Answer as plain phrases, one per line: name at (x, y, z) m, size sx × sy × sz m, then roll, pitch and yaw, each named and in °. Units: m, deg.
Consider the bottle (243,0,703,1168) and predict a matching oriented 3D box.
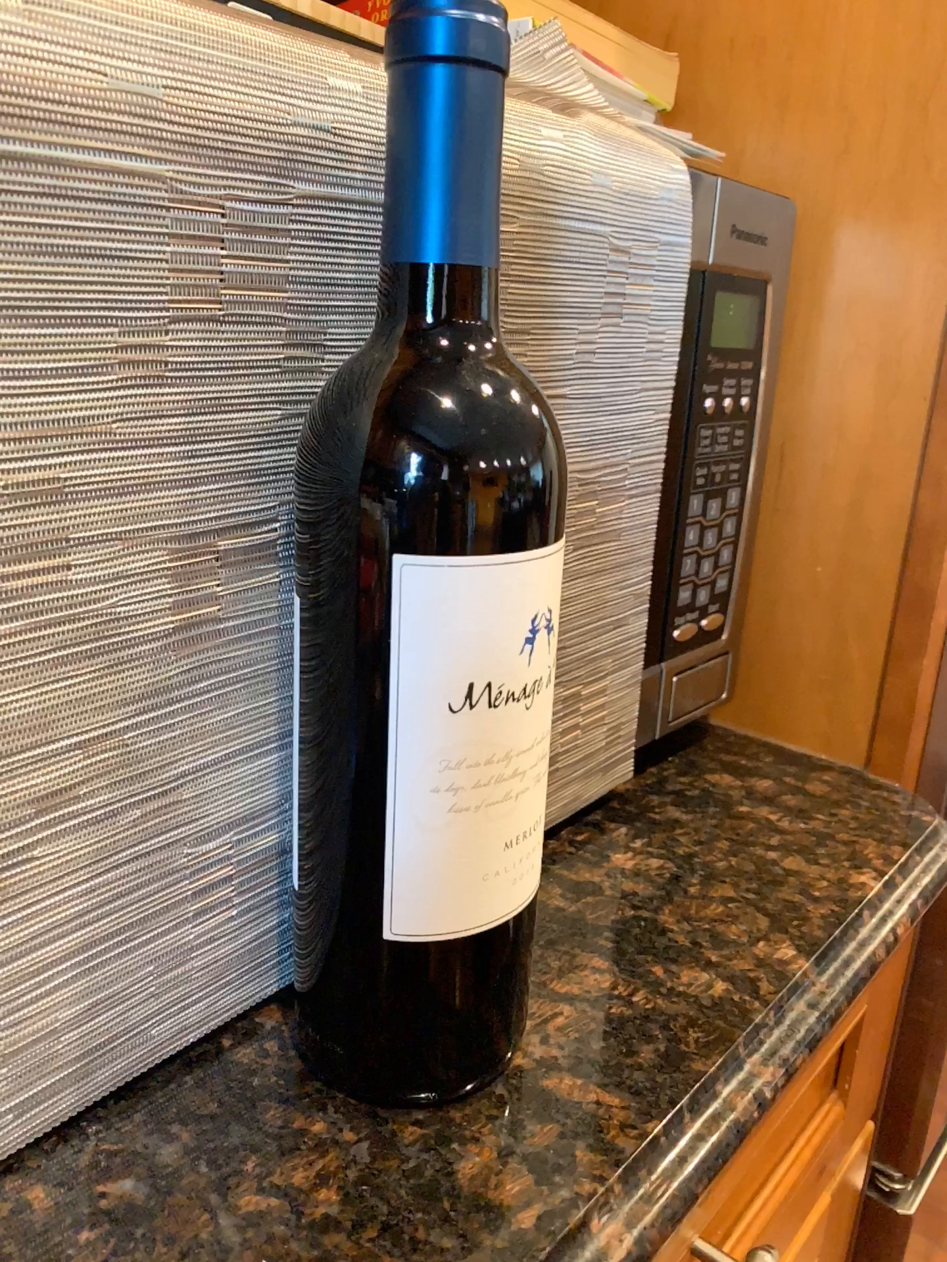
bottle at (-0.007, -0.016, 0.283) m, size 0.080 × 0.309 × 0.080 m, roll 3°, pitch 16°, yaw -1°
